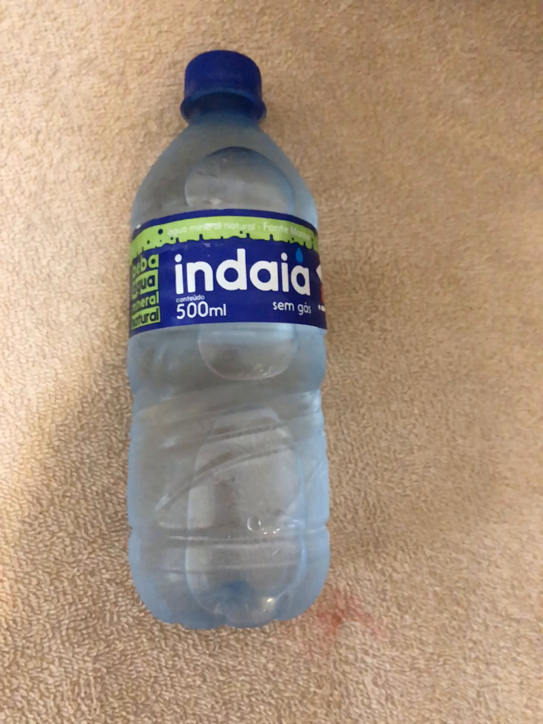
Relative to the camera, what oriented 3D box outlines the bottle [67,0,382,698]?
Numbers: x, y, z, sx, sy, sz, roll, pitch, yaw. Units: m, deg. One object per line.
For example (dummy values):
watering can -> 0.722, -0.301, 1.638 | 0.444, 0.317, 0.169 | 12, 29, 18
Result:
bottle -> -0.021, -0.016, 0.203 | 0.080, 0.050, 0.210 | -2, 81, -15
